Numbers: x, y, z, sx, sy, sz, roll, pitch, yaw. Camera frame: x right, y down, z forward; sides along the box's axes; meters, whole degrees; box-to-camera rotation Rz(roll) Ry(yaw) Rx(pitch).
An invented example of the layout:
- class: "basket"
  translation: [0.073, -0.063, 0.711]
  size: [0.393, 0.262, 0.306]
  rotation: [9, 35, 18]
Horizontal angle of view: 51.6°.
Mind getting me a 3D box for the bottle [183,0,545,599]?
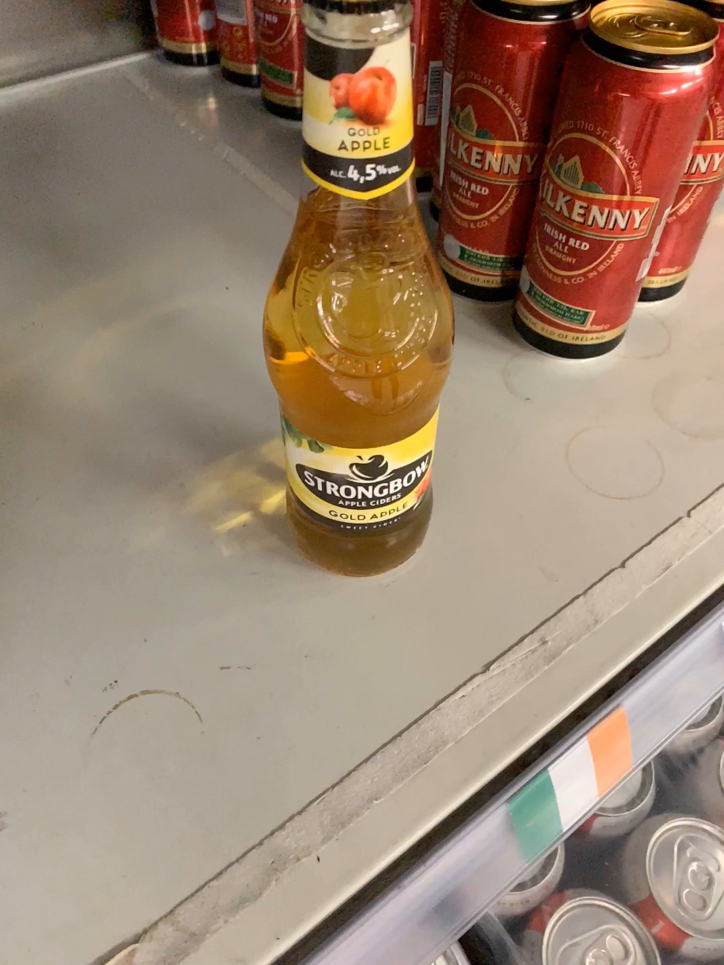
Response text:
- class: "bottle"
  translation: [-0.005, -0.057, 0.282]
  size: [0.080, 0.239, 0.080]
  rotation: [0, 50, 0]
